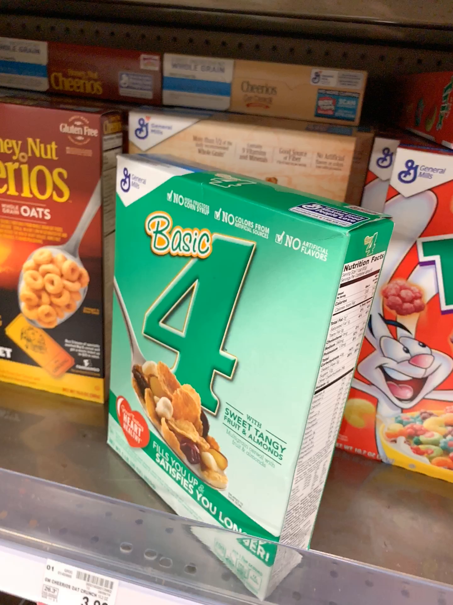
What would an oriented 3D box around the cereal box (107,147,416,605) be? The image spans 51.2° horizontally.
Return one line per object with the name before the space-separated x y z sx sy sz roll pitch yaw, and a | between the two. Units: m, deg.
cereal box | -0.006 0.041 0.338 0.050 0.259 0.201 -16 33 -43
